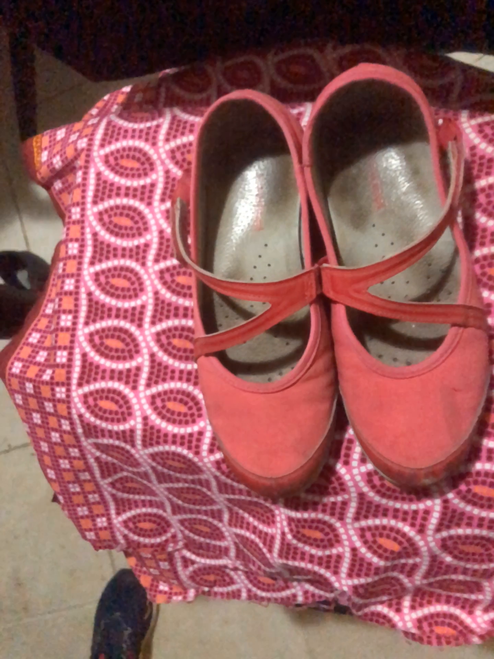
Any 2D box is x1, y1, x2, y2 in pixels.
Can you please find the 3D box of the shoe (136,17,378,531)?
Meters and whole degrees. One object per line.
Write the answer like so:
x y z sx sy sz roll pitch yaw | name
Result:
0.013 -0.029 0.373 0.110 0.100 0.290 -8 86 14 | shoe

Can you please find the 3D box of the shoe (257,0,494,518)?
0.092 -0.043 0.374 0.110 0.100 0.300 -9 86 14 | shoe
